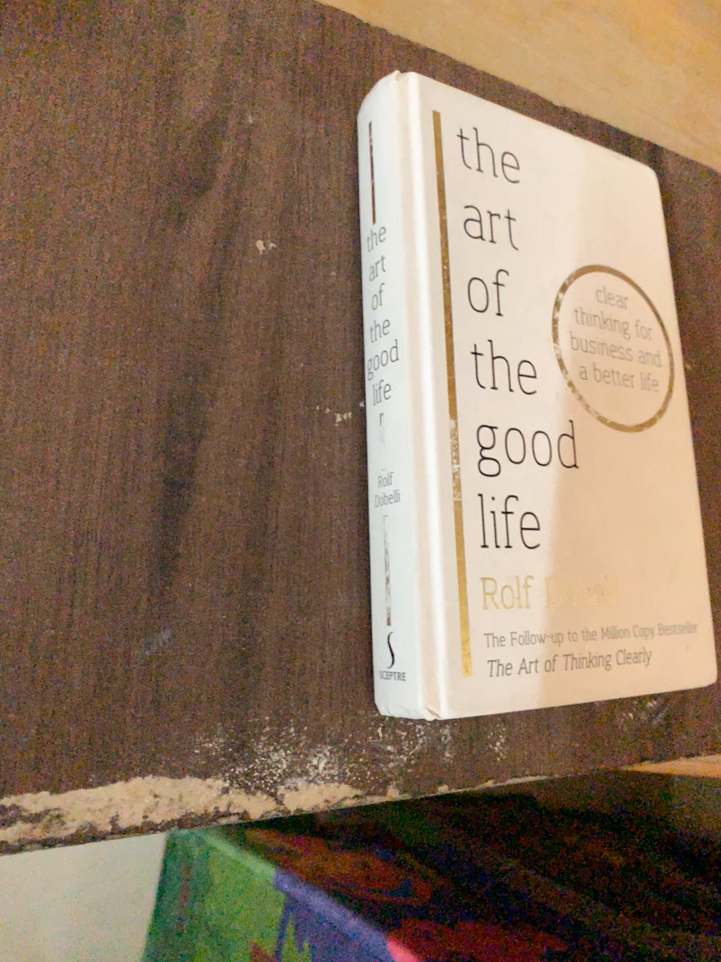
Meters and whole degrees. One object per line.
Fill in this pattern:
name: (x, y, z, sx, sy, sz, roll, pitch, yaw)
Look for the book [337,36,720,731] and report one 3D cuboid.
book: (0.054, -0.024, 0.235, 0.118, 0.037, 0.180, 5, 80, -29)
